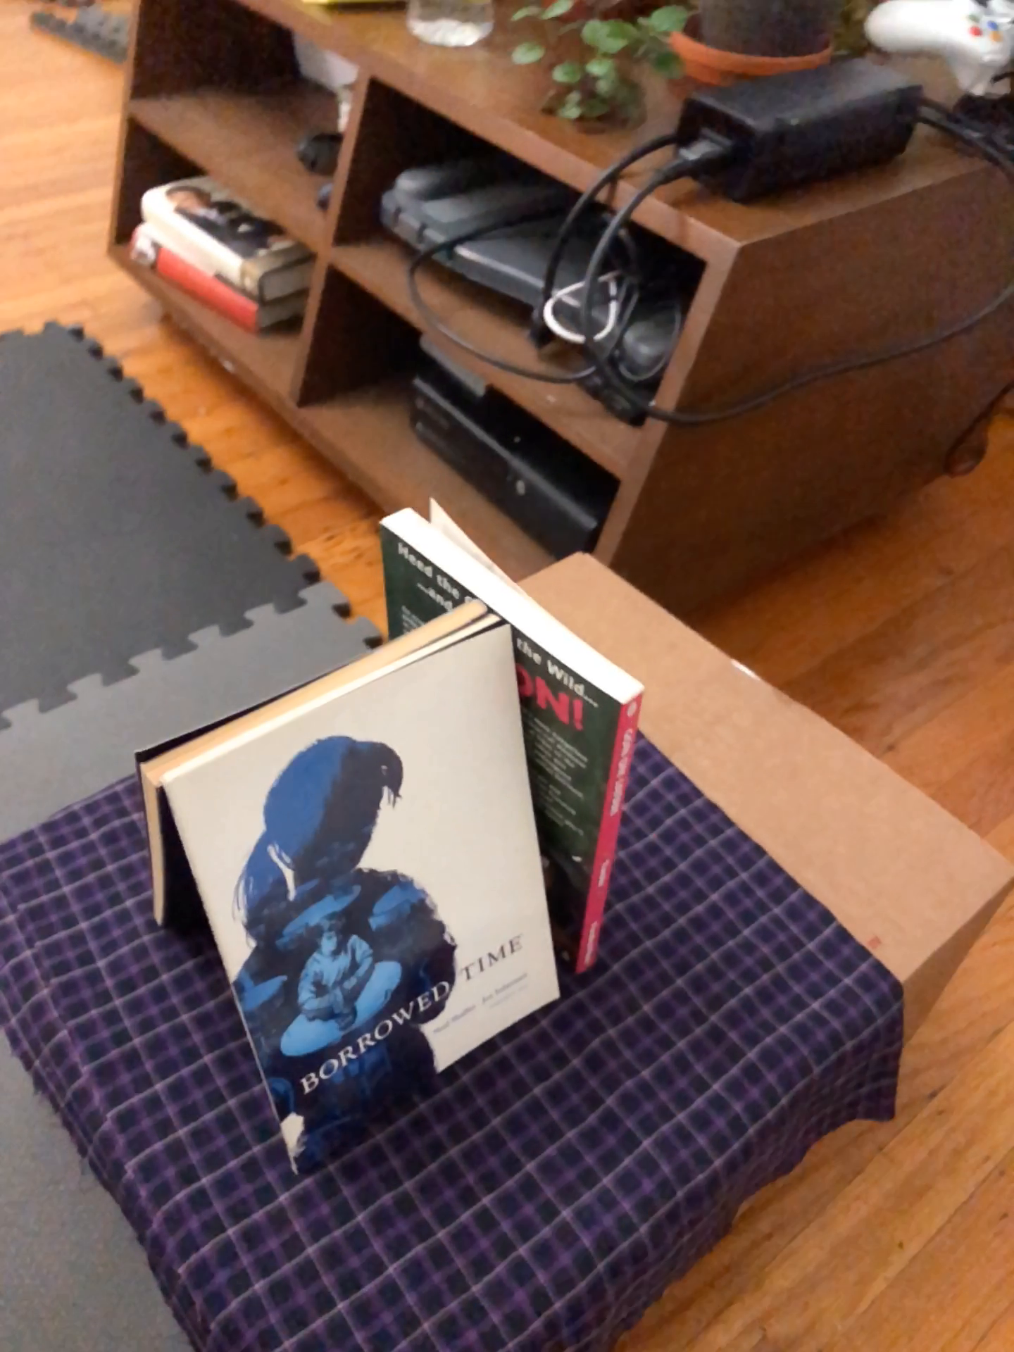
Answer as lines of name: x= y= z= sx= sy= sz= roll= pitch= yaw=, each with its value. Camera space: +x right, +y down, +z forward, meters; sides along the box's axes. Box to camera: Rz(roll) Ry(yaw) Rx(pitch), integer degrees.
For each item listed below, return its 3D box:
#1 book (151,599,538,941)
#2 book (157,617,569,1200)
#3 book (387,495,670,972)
book: x=-0.077 y=0.048 z=0.479 sx=0.150 sy=0.199 sz=0.010 roll=-26 pitch=73 yaw=-26
book: x=-0.041 y=0.093 z=0.434 sx=0.140 sy=0.199 sz=0.010 roll=-27 pitch=34 yaw=-30
book: x=0.006 y=0.032 z=0.494 sx=0.020 sy=0.189 sz=0.140 roll=-33 pitch=56 yaw=-24
